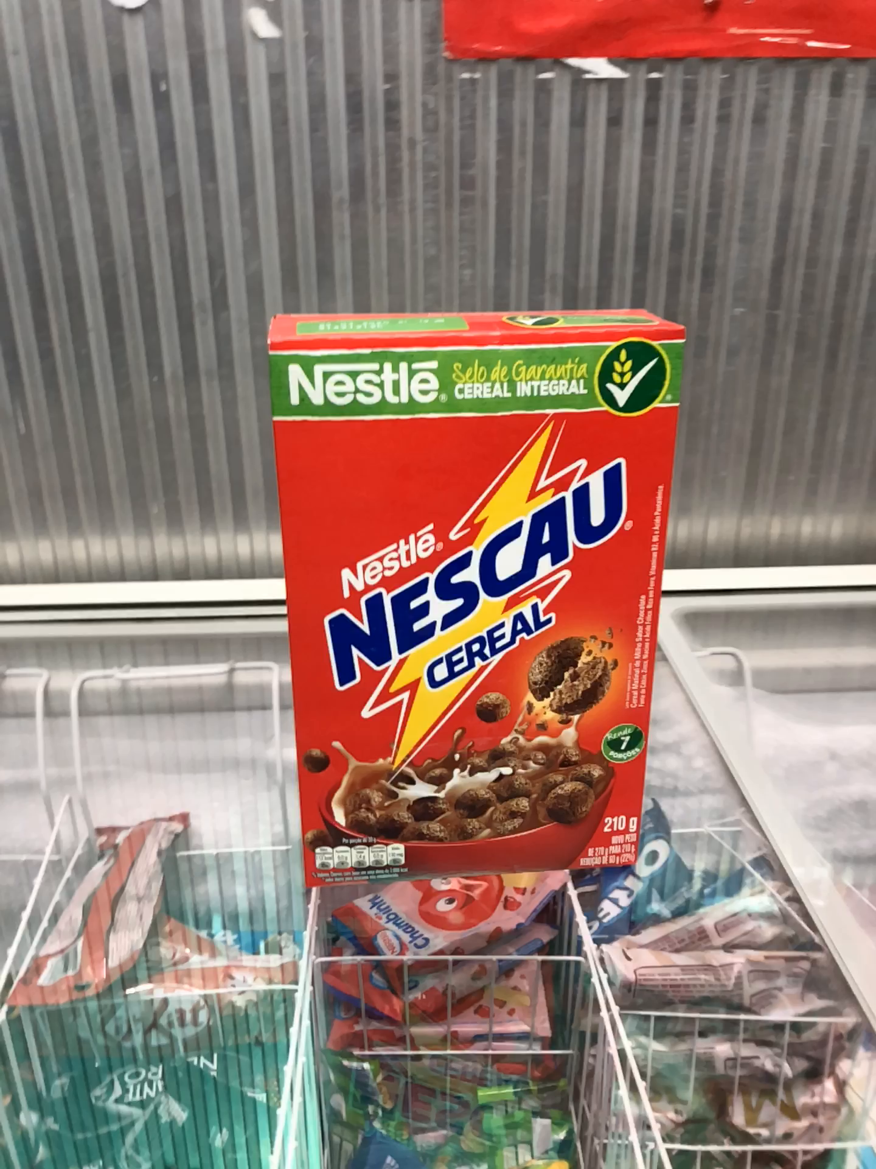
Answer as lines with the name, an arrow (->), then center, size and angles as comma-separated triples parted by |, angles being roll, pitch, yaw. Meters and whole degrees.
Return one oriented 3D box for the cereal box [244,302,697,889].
cereal box -> 0.012, 0.011, 0.436 | 0.170, 0.258, 0.050 | -2, 24, -4
